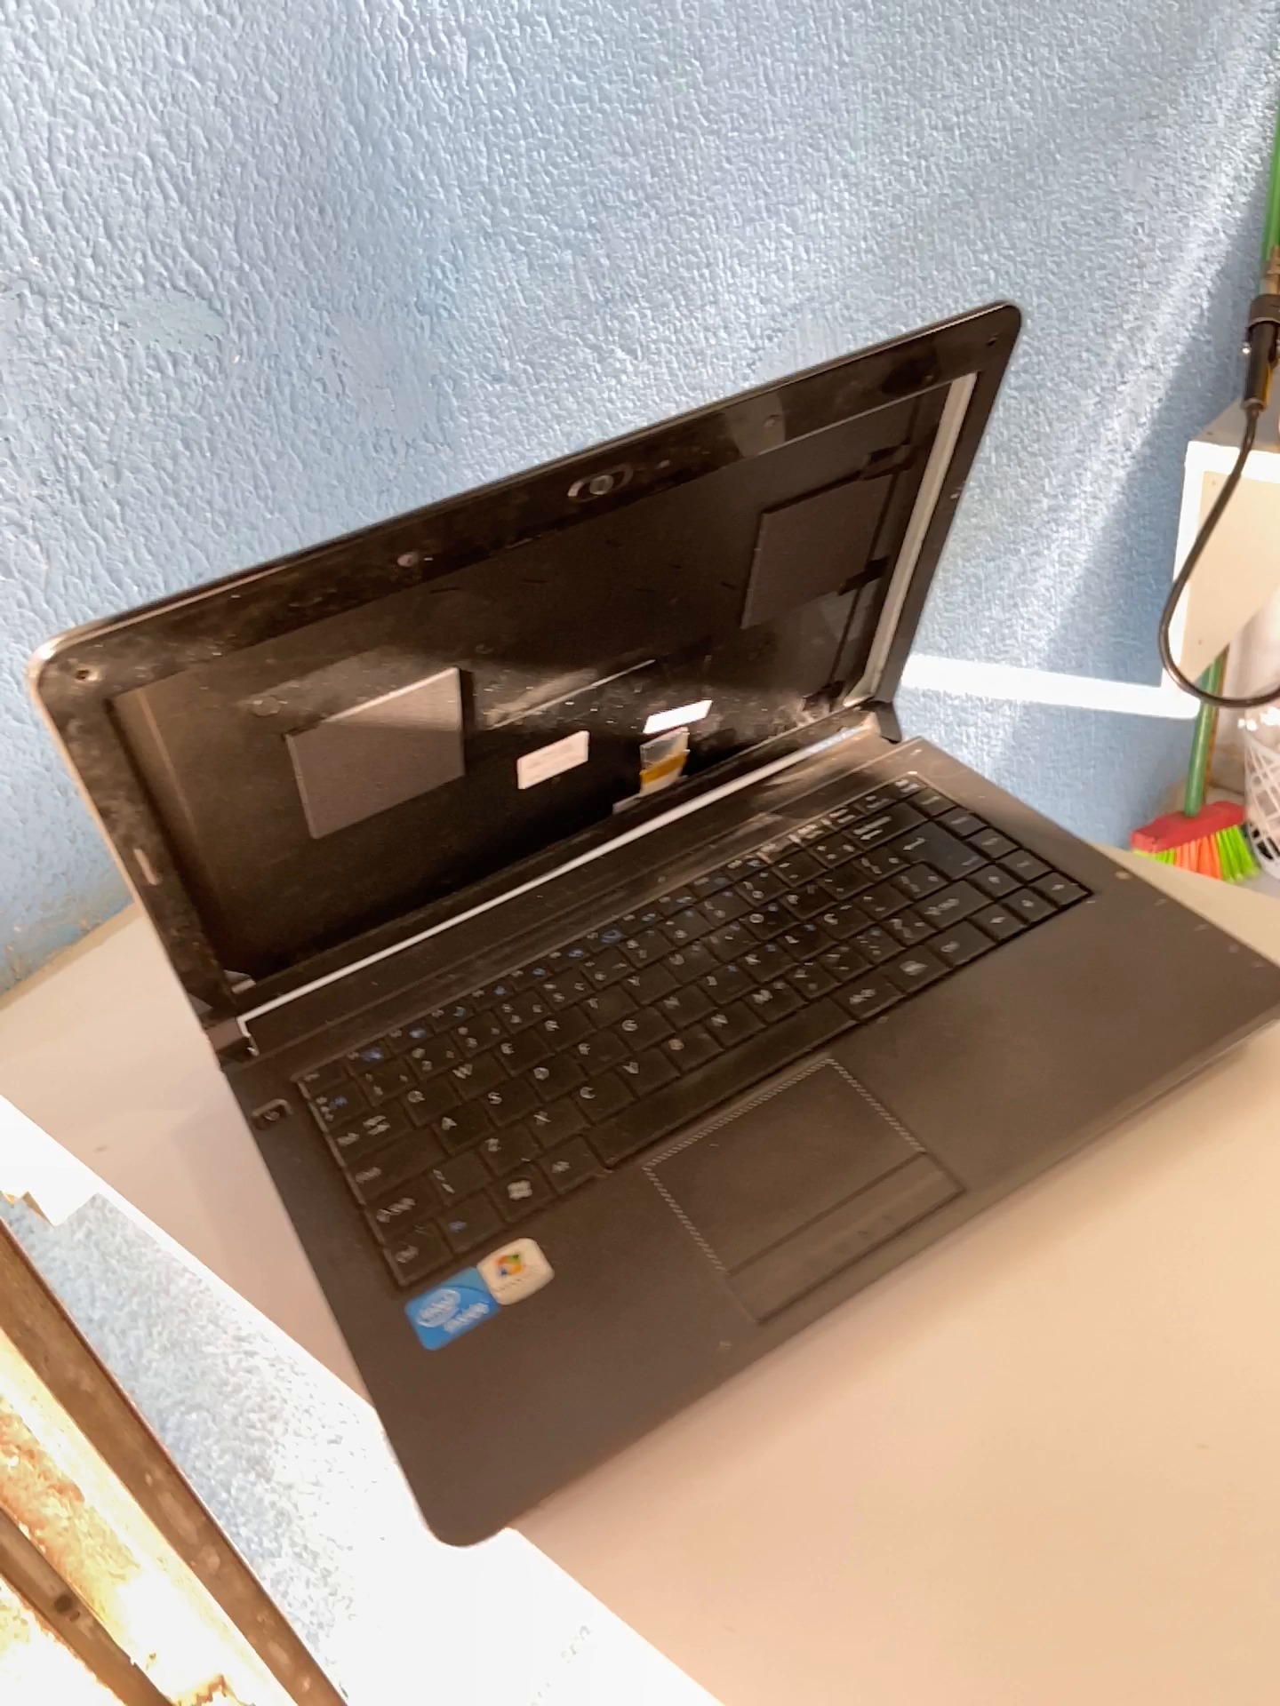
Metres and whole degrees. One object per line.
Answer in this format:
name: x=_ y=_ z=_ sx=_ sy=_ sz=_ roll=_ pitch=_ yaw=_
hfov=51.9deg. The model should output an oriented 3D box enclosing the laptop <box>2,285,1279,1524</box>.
laptop: x=0.020 y=-0.015 z=0.427 sx=0.331 sy=0.206 sz=0.206 roll=-26 pitch=40 yaw=-19
